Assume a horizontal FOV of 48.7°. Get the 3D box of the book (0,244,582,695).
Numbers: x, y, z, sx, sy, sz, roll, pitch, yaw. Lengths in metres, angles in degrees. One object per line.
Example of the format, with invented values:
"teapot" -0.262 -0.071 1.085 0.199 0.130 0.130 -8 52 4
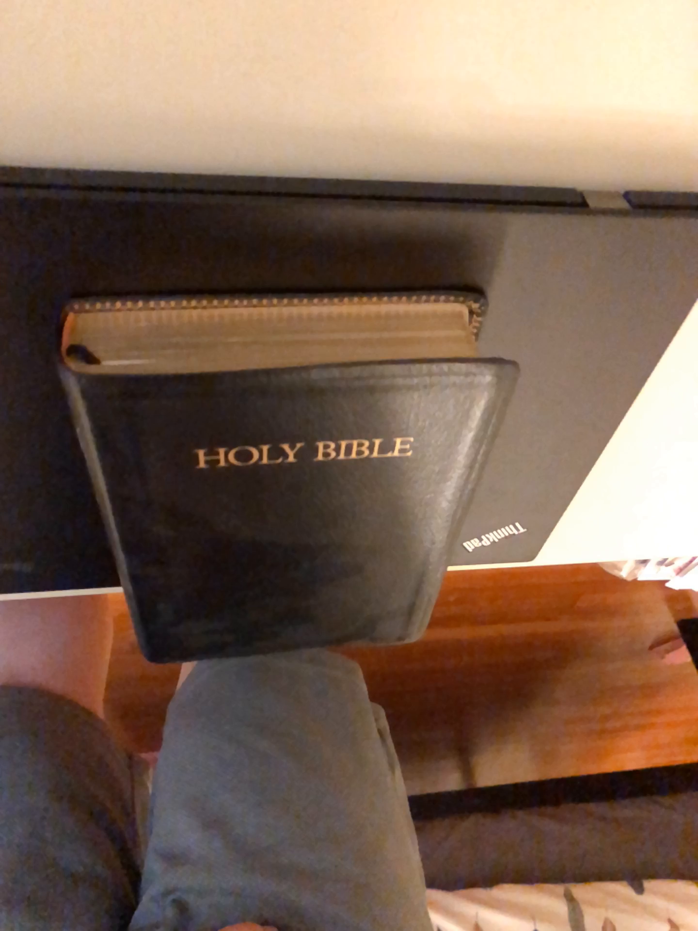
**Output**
"book" -0.027 0.021 0.326 0.170 0.040 0.241 -3 142 -9
